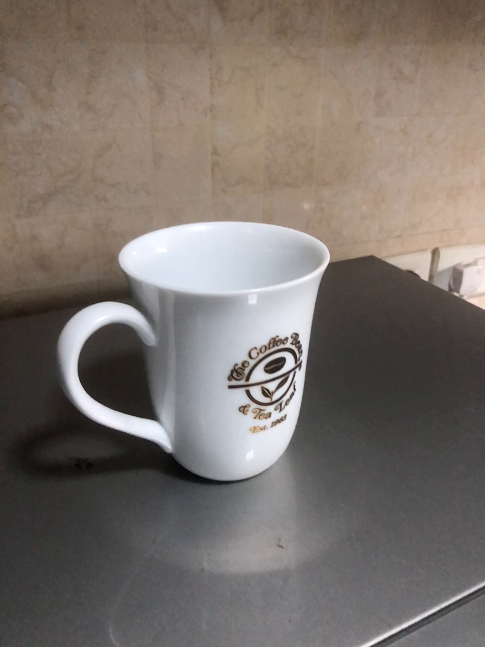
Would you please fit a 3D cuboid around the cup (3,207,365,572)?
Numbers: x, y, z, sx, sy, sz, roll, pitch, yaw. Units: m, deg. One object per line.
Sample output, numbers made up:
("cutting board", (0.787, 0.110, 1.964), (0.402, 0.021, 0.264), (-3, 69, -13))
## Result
("cup", (-0.025, 0.017, 0.261), (0.130, 0.109, 0.090), (-18, 32, -34))
